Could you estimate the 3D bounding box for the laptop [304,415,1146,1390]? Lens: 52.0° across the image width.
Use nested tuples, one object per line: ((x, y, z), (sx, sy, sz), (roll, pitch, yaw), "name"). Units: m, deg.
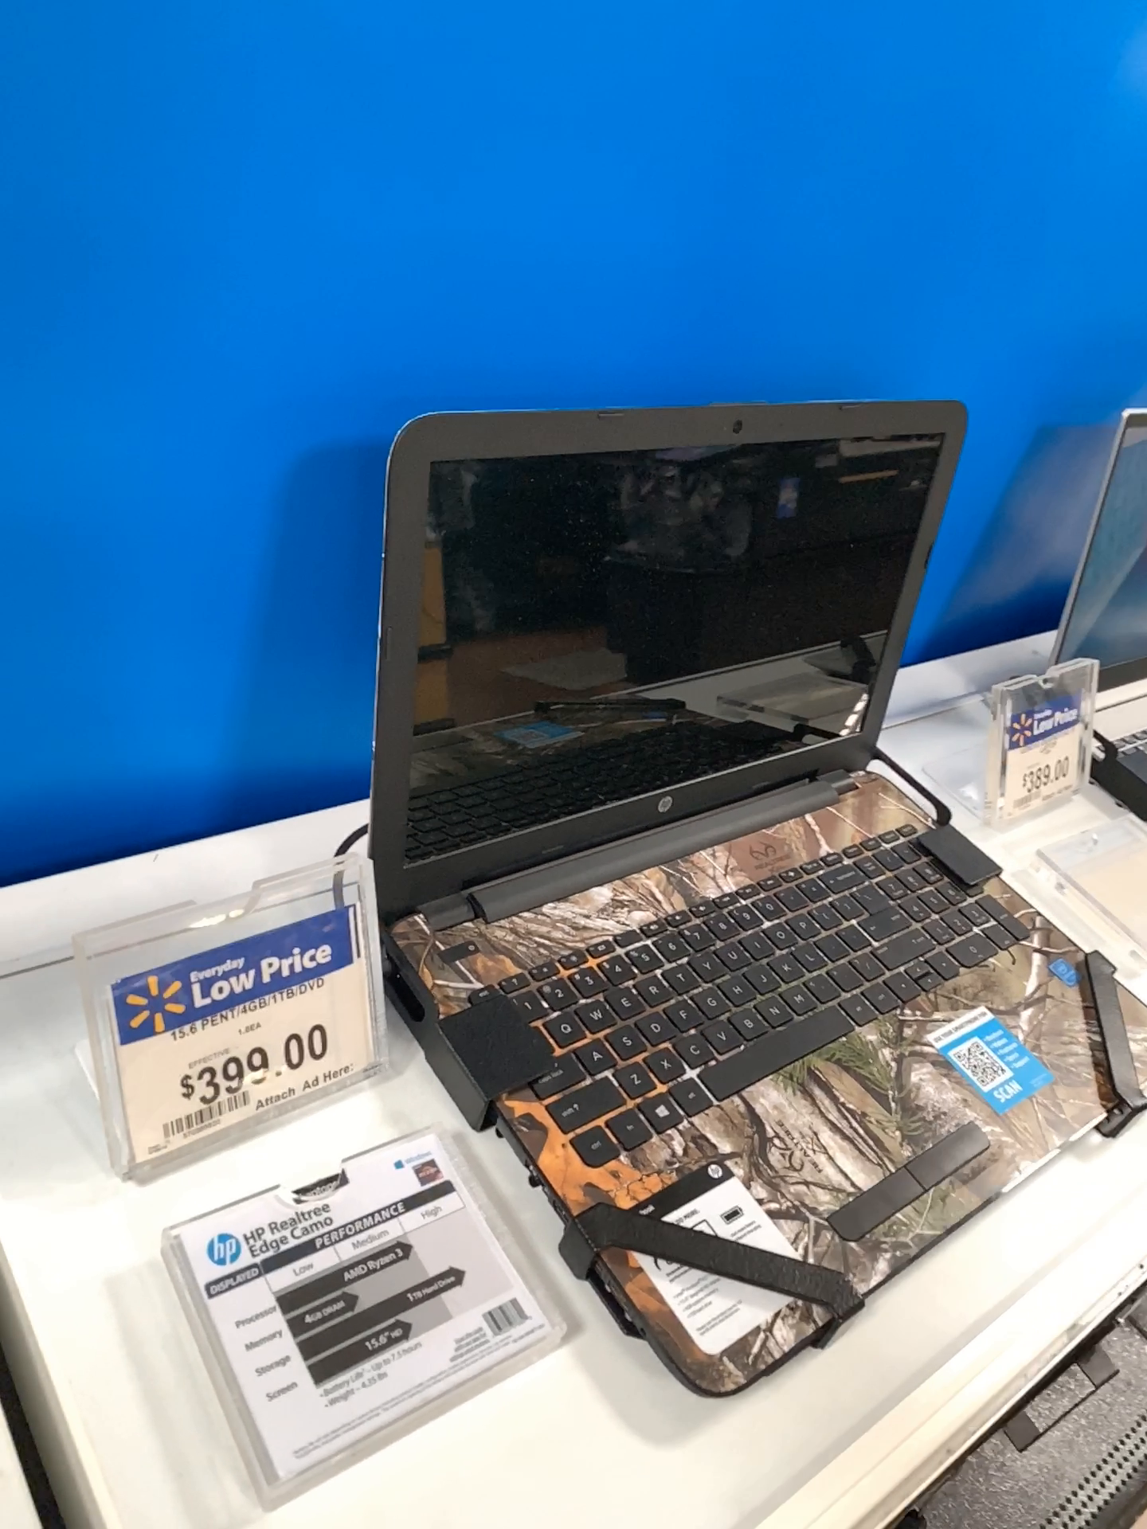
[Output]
((0.131, 0.014, 0.553), (0.375, 0.227, 0.303), (-15, 48, -37), "laptop")
